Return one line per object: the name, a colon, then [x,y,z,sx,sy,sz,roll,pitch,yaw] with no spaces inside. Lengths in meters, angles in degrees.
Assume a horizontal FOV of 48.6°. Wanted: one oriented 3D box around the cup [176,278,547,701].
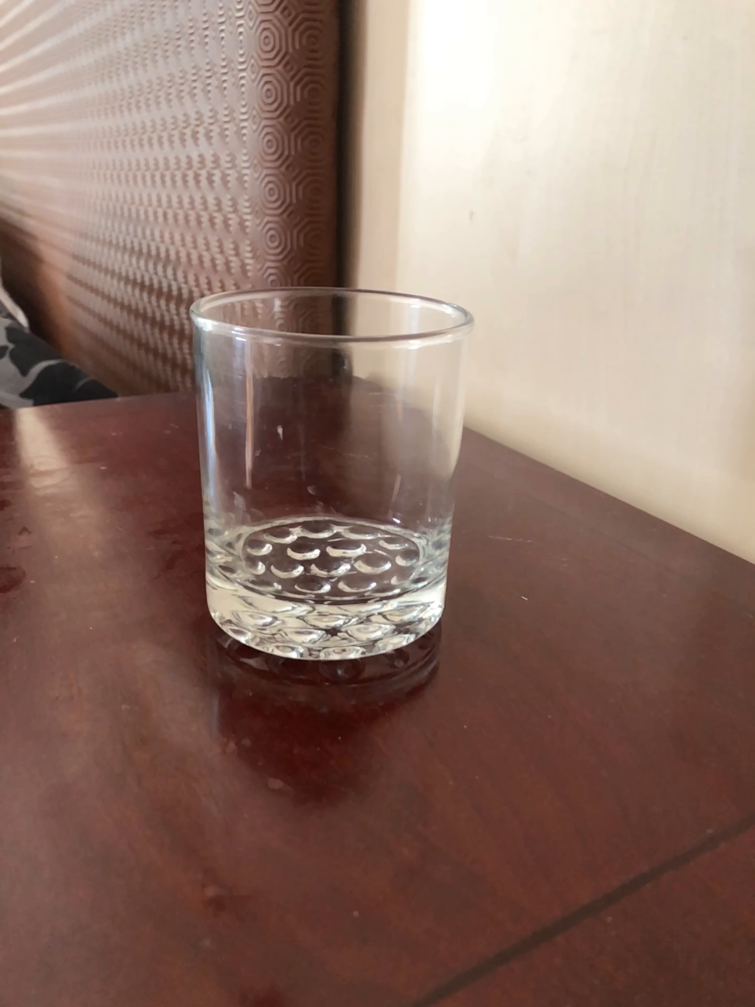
cup: [-0.011,-0.012,0.249,0.082,0.097,0.081,2,22,-1]
